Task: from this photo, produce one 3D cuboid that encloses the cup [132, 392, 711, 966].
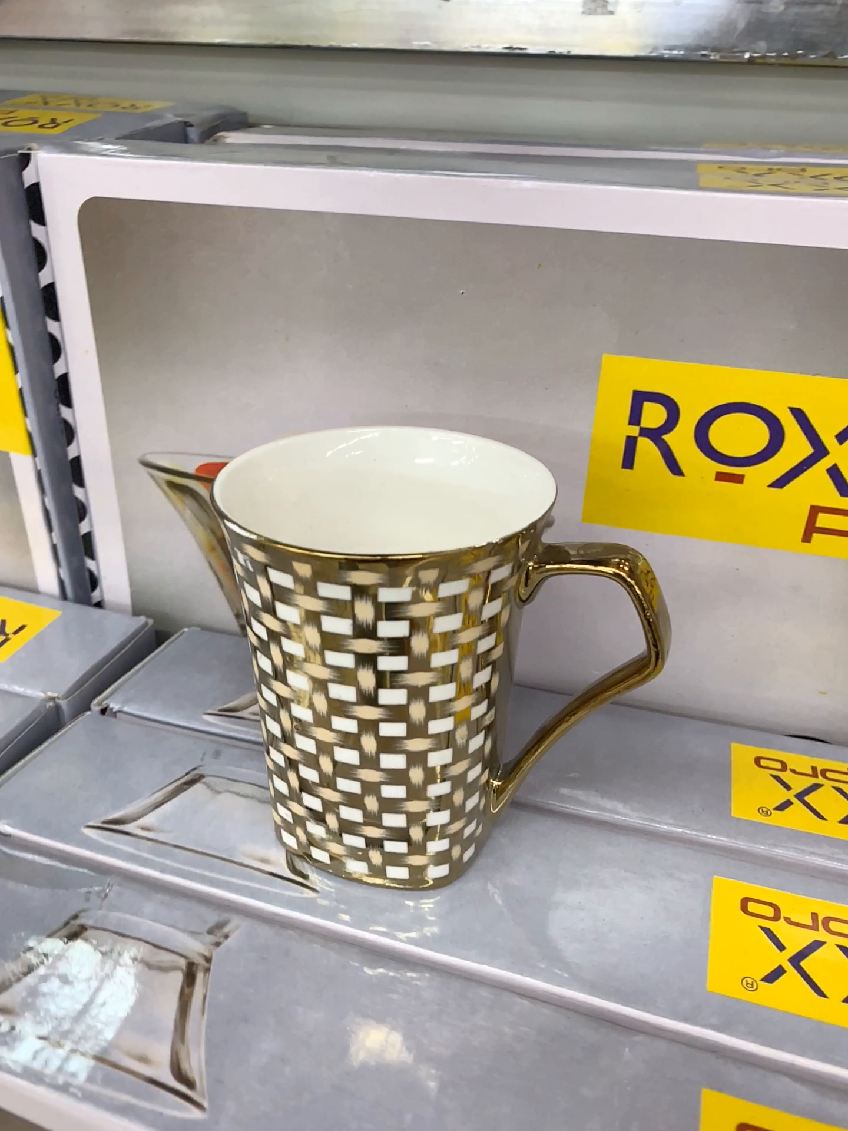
[{"bbox_3d":[0.004,0.020,0.226,0.112,0.092,0.083,11,30,16],"label":"cup"}]
